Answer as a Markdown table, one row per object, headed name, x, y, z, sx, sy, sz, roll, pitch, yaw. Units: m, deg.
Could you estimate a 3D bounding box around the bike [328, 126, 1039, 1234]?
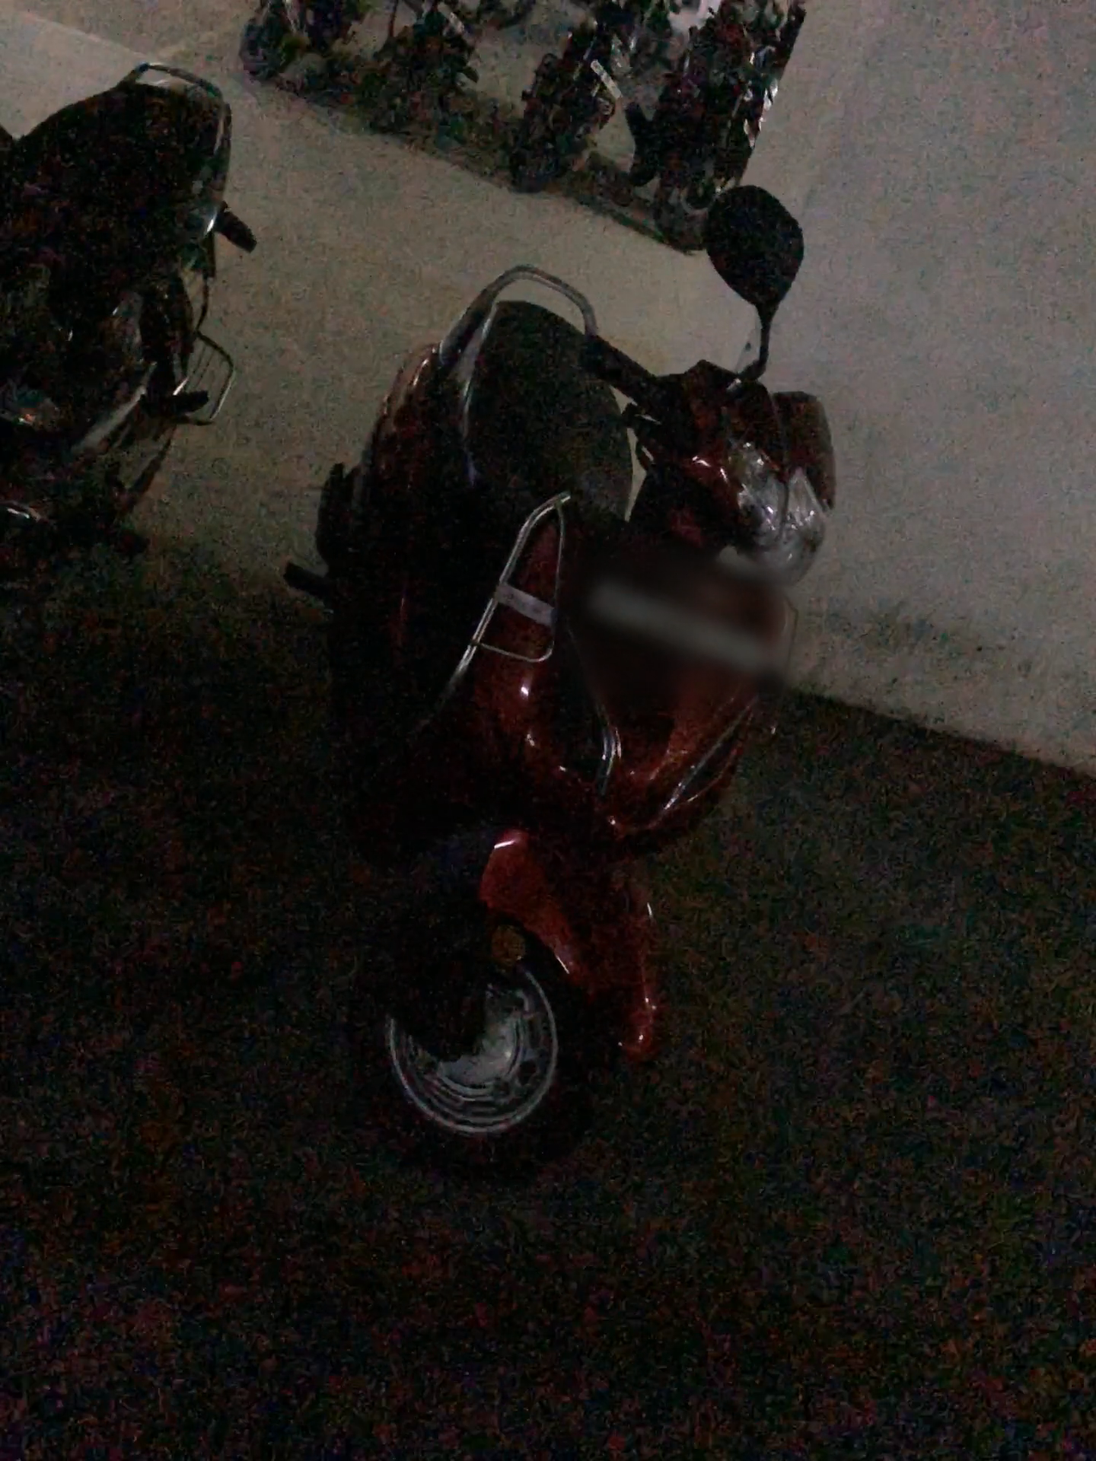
| name | x | y | z | sx | sy | sz | roll | pitch | yaw |
| --- | --- | --- | --- | --- | --- | --- | --- | --- | --- |
| bike | 0.060 | -0.117 | 1.913 | 0.487 | 0.909 | 1.394 | 1 | 49 | -26 |
